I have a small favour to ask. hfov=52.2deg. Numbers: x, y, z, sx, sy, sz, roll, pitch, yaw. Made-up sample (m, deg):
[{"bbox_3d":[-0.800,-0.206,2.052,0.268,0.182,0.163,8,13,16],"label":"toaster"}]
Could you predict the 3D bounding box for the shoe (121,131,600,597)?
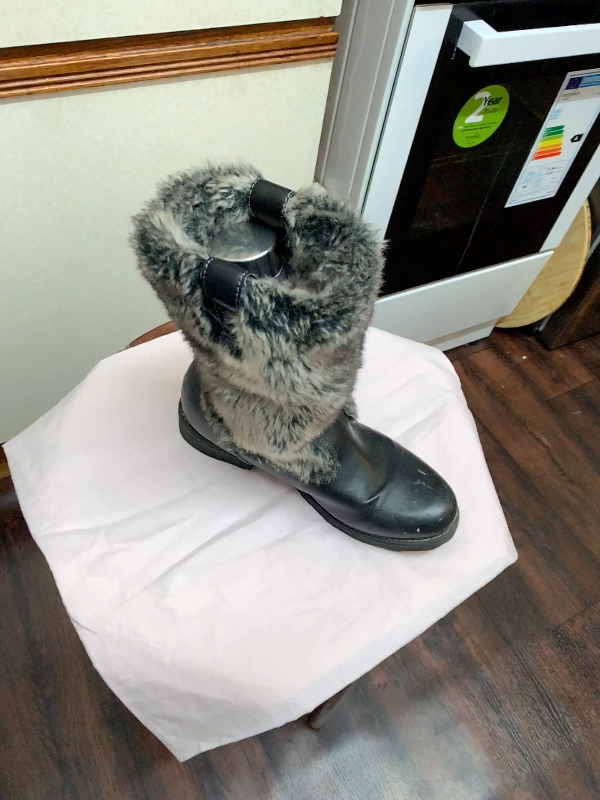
[{"bbox_3d":[0.032,-0.013,0.448,0.270,0.238,0.121,25,53,10],"label":"shoe"}]
